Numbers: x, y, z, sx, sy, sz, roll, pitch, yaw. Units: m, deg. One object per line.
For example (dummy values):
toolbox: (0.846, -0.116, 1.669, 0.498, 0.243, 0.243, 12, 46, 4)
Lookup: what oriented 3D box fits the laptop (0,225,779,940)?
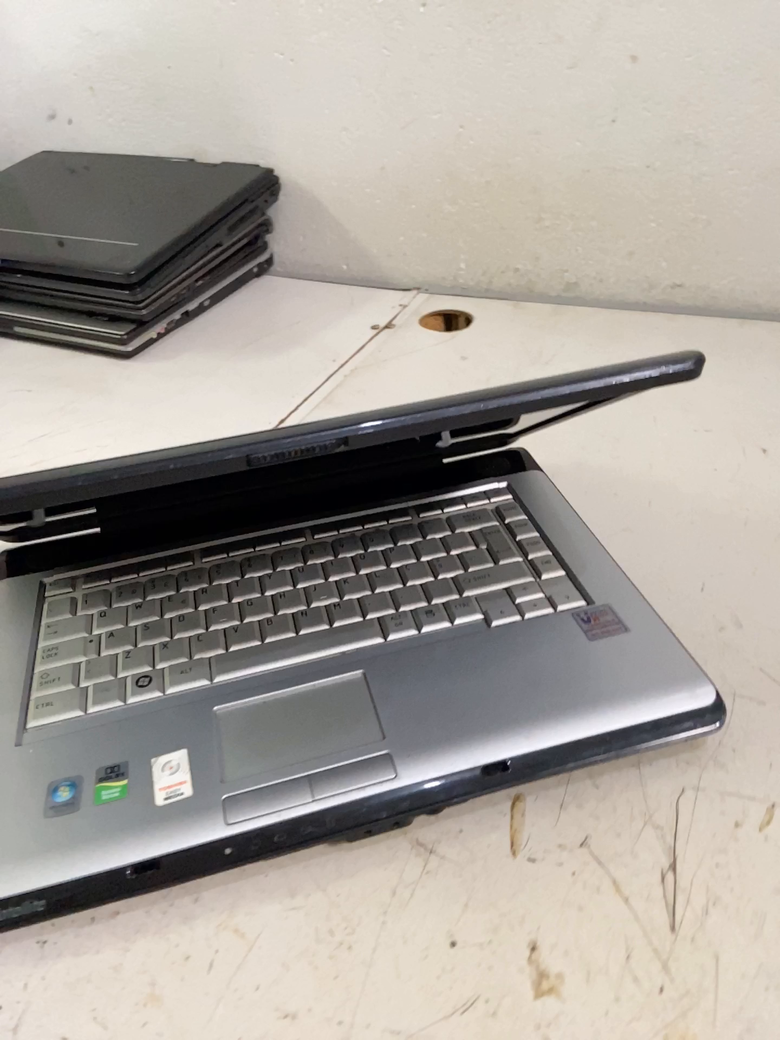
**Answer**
laptop: (-0.046, -0.009, 0.393, 0.346, 0.152, 0.259, -12, 37, -10)
